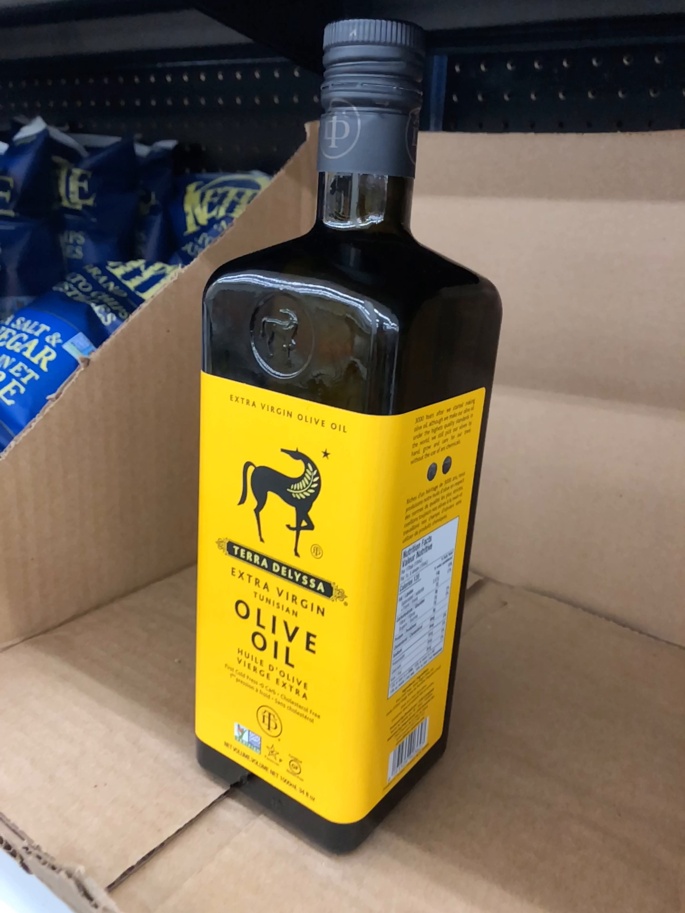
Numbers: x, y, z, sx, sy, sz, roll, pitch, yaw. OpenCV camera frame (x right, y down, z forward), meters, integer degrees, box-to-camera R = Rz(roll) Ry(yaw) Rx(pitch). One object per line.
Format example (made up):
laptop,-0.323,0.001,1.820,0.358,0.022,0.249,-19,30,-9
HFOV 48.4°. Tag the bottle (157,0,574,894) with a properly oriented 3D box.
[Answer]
bottle,0.005,-0.005,0.278,0.090,0.288,0.090,2,20,-1
